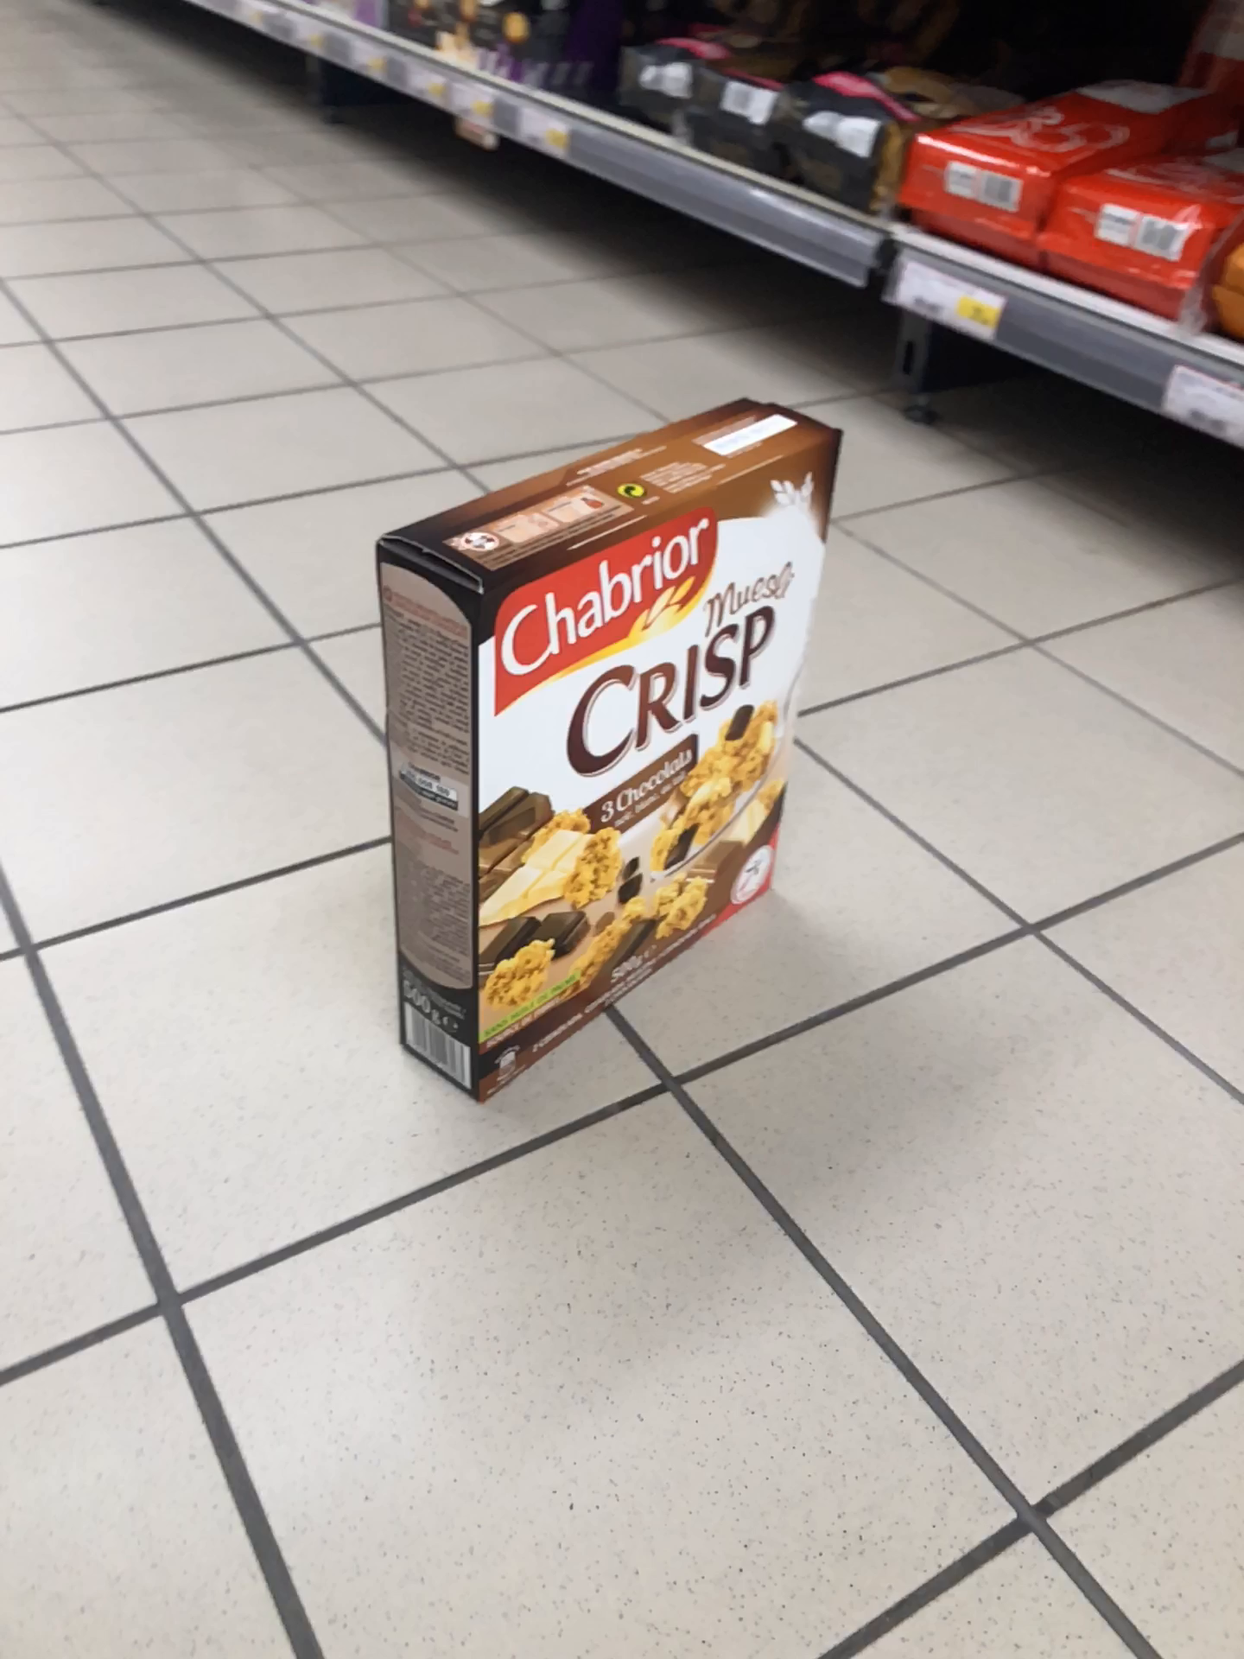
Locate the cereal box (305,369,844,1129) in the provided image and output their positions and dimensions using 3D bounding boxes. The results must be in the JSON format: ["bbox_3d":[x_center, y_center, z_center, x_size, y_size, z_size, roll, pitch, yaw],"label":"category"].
[{"bbox_3d":[-0.012,-0.034,0.528,0.060,0.229,0.201,29,43,31],"label":"cereal box"}]
